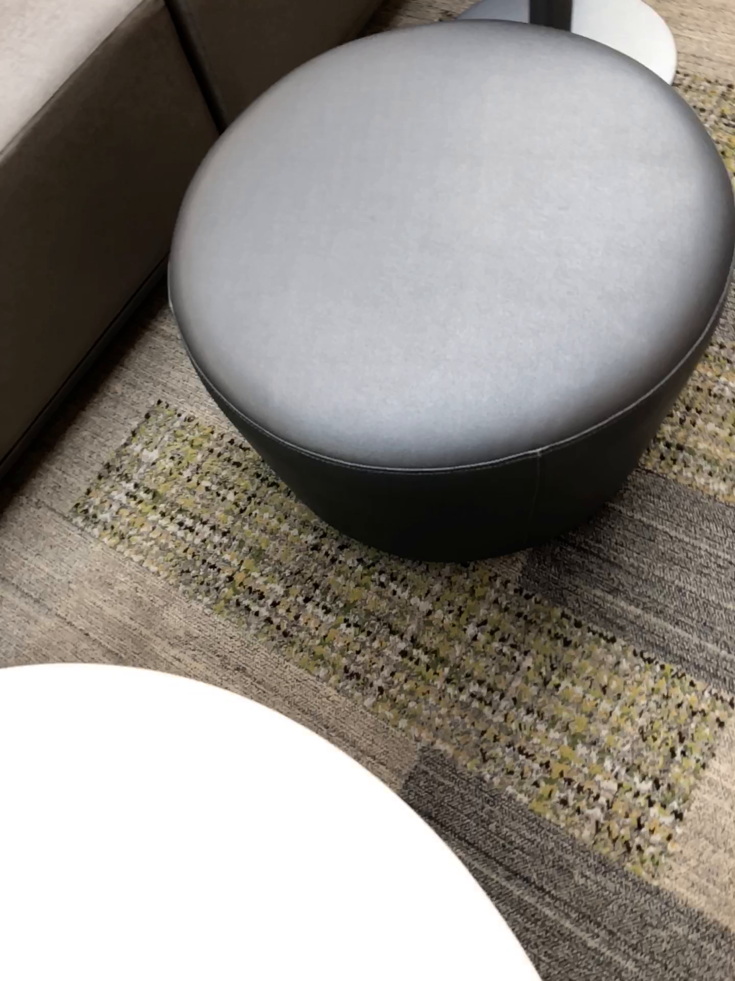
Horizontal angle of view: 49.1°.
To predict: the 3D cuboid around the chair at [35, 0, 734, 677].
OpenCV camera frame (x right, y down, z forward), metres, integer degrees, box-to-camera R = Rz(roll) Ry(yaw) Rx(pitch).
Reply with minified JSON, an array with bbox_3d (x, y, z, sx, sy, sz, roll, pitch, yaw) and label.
[{"bbox_3d":[0.105,-0.234,1.000,0.571,0.459,0.620,31,75,21],"label":"chair"}]
